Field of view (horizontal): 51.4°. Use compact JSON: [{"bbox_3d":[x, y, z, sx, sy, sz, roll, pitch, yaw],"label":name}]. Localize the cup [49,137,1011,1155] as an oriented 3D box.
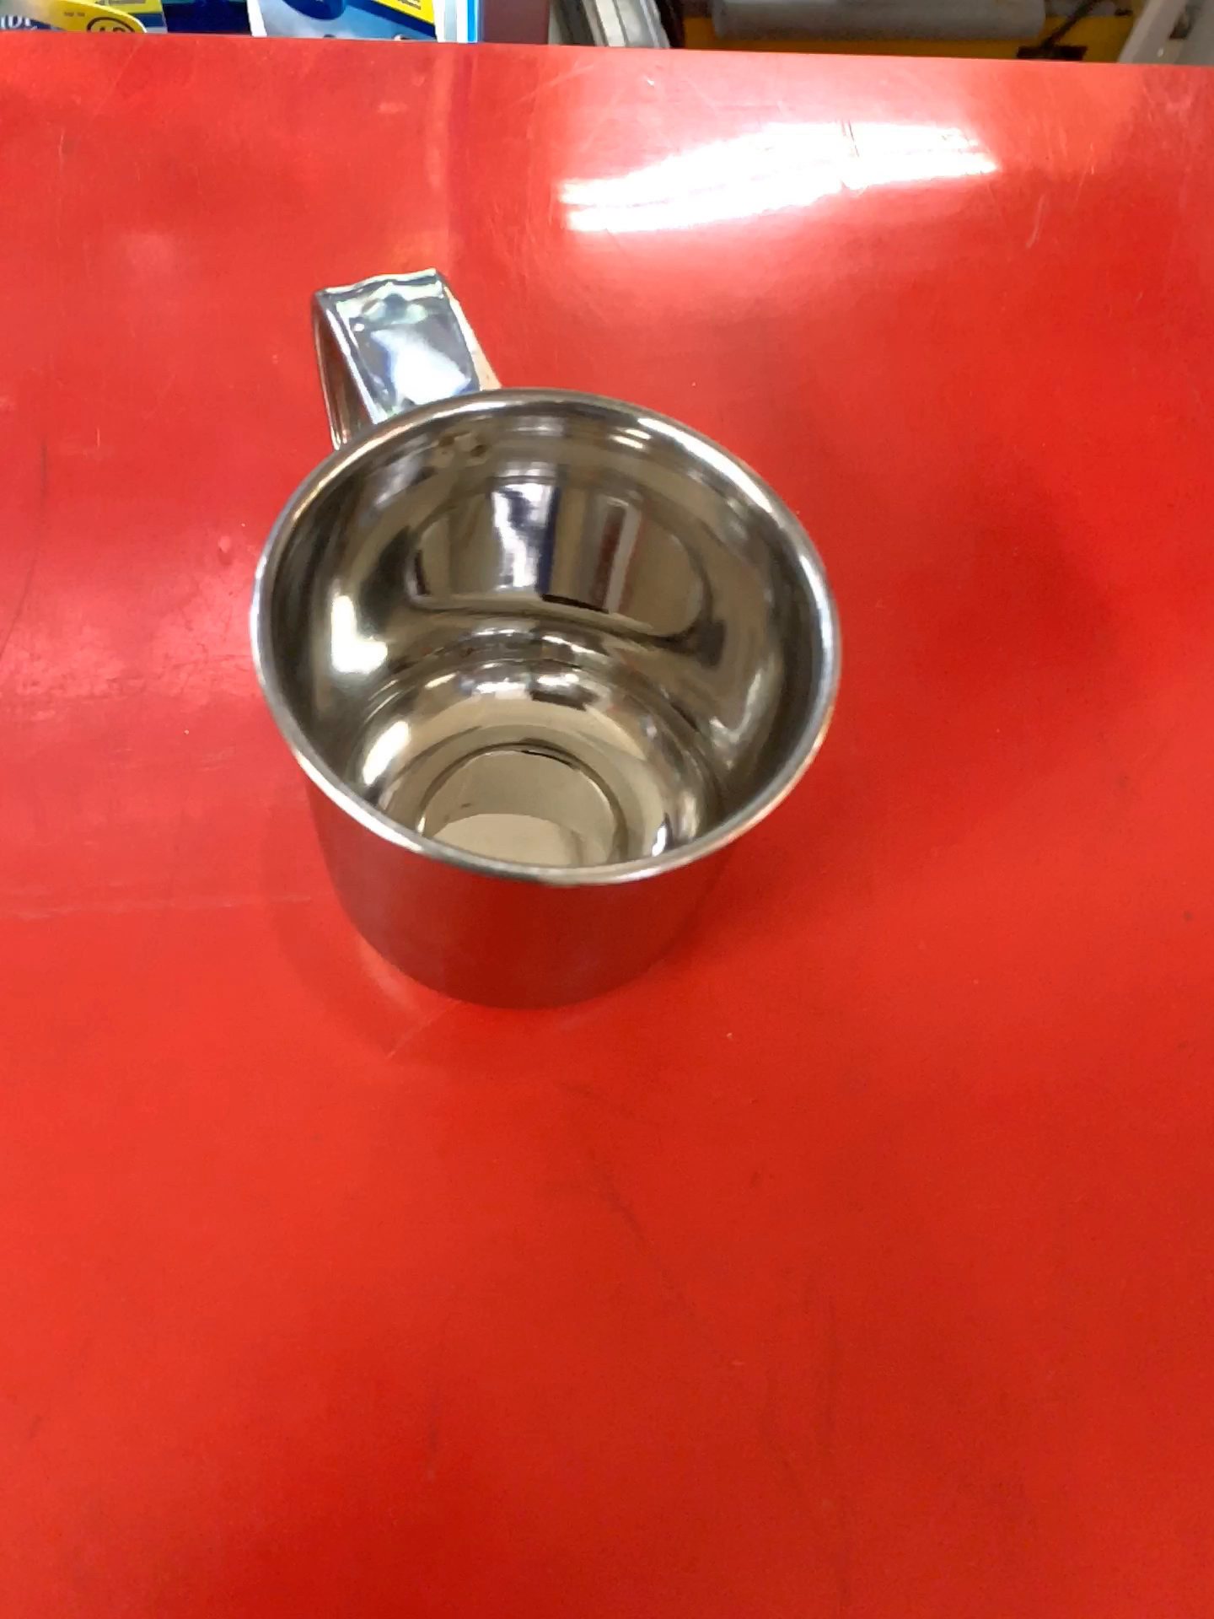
[{"bbox_3d":[-0.016,-0.025,0.180,0.079,0.065,0.110,-20,67,-16],"label":"cup"}]
